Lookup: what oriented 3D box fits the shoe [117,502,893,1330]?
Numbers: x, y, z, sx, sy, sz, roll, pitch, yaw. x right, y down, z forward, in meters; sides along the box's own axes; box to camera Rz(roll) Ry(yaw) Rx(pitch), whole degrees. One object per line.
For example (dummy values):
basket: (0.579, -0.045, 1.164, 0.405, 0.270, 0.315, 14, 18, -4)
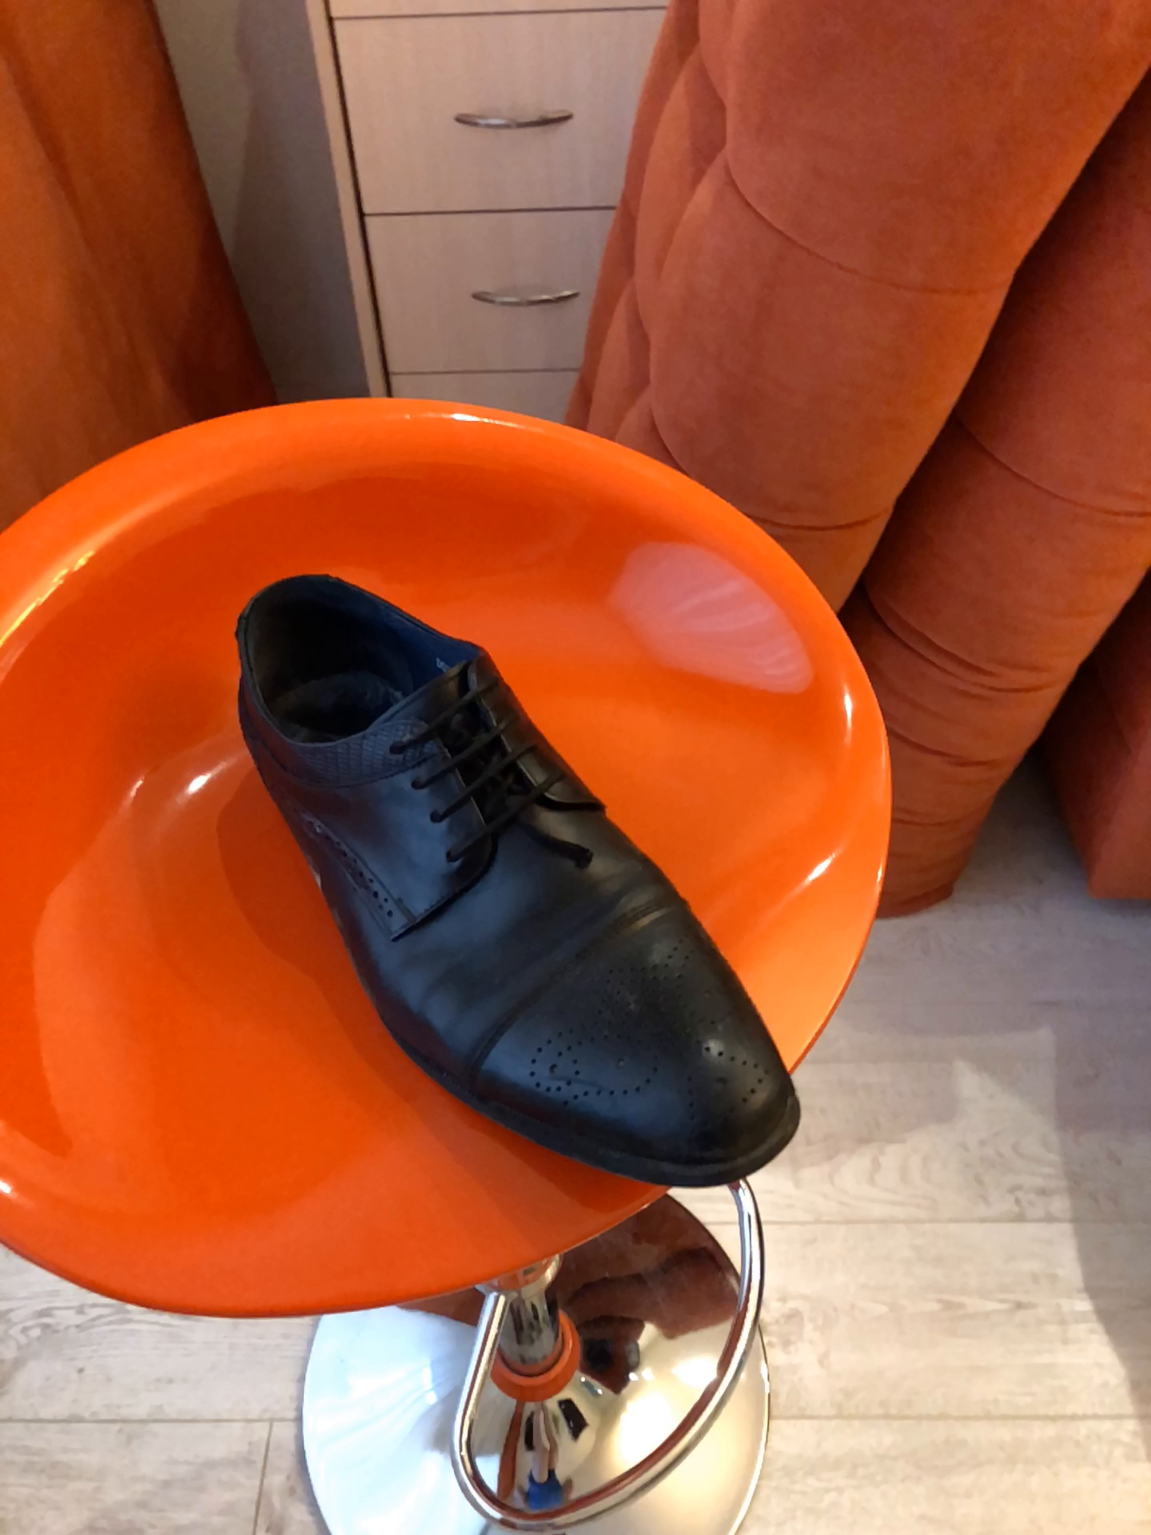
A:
shoe: (-0.042, 0.029, 0.462, 0.120, 0.079, 0.301, -29, 53, -22)
